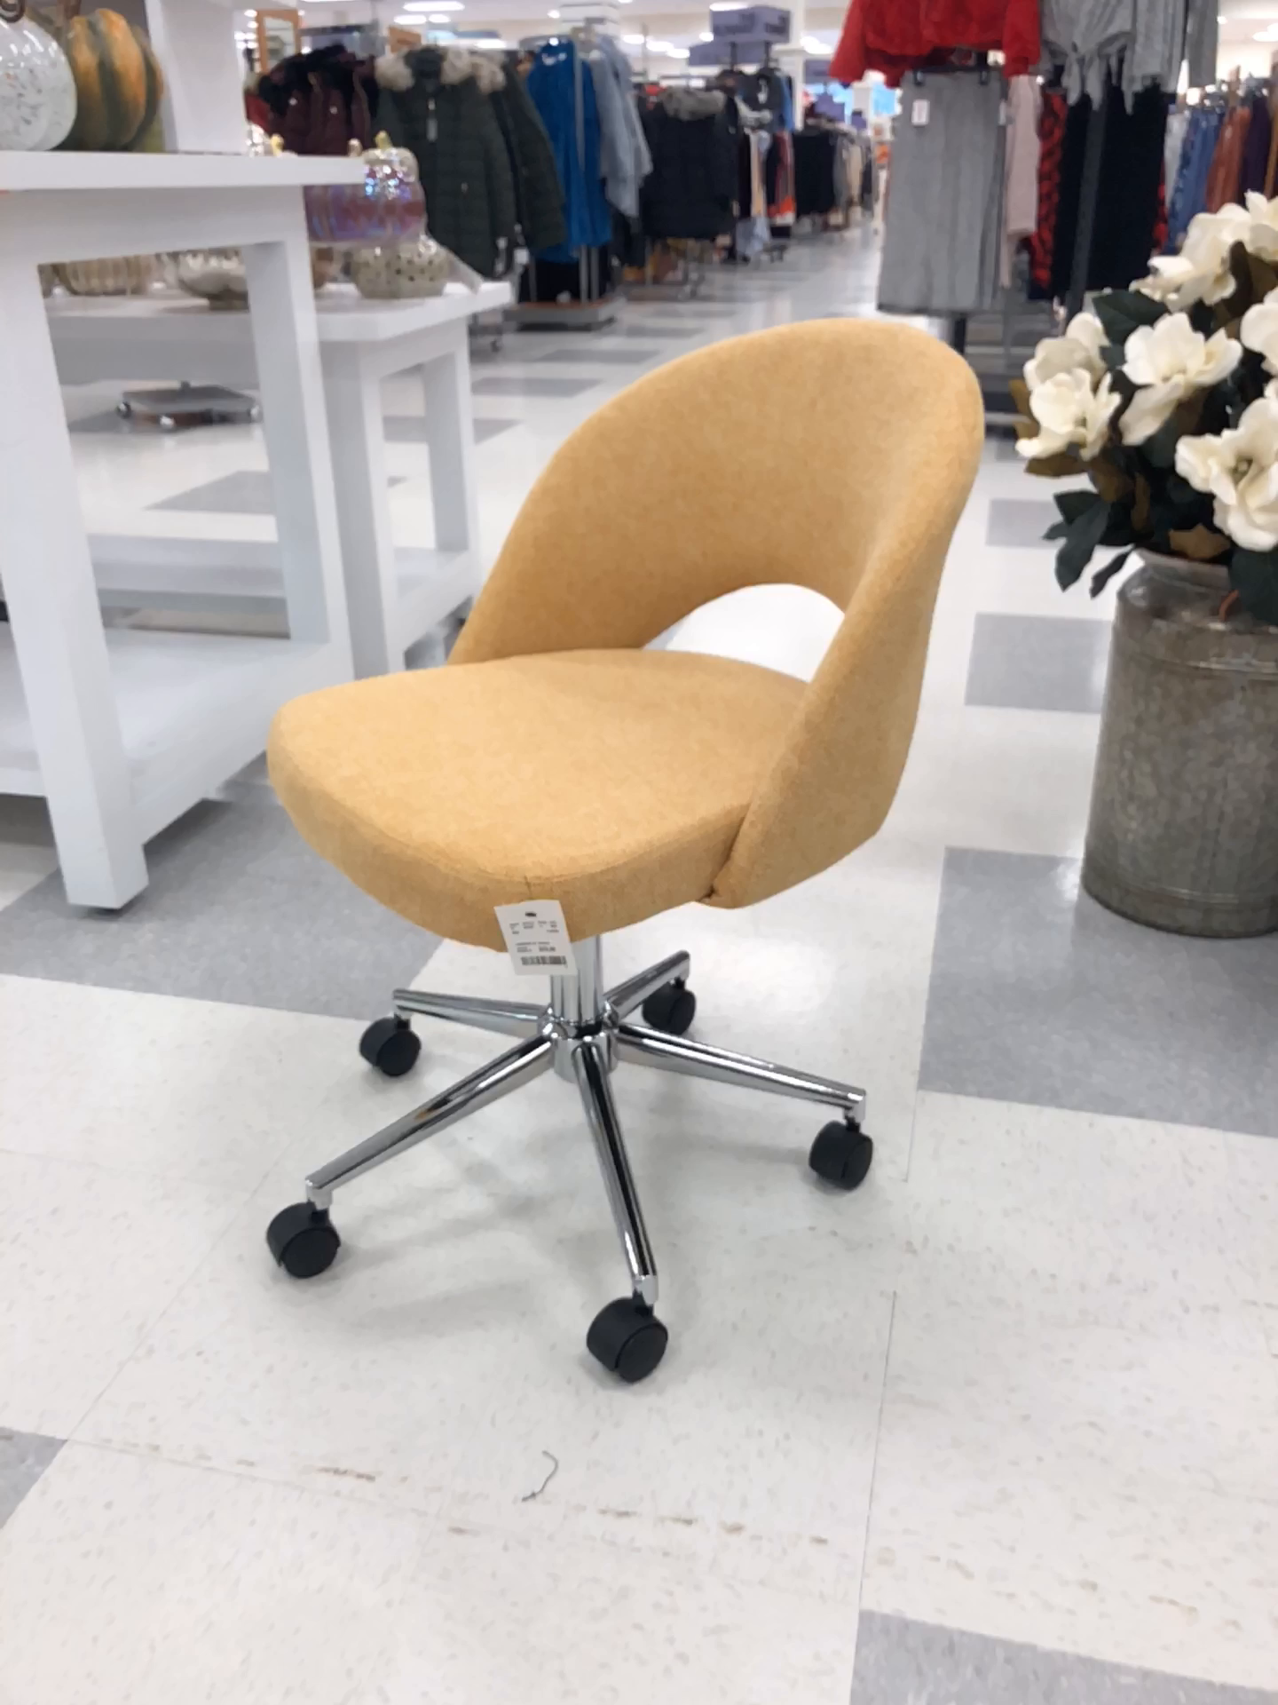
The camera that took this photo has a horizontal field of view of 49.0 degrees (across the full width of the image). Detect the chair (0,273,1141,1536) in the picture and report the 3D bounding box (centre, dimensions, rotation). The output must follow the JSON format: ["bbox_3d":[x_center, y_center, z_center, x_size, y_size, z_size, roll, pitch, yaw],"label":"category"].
[{"bbox_3d":[-0.078,-0.056,1.177,0.636,0.749,0.583,-16,29,-29],"label":"chair"}]
